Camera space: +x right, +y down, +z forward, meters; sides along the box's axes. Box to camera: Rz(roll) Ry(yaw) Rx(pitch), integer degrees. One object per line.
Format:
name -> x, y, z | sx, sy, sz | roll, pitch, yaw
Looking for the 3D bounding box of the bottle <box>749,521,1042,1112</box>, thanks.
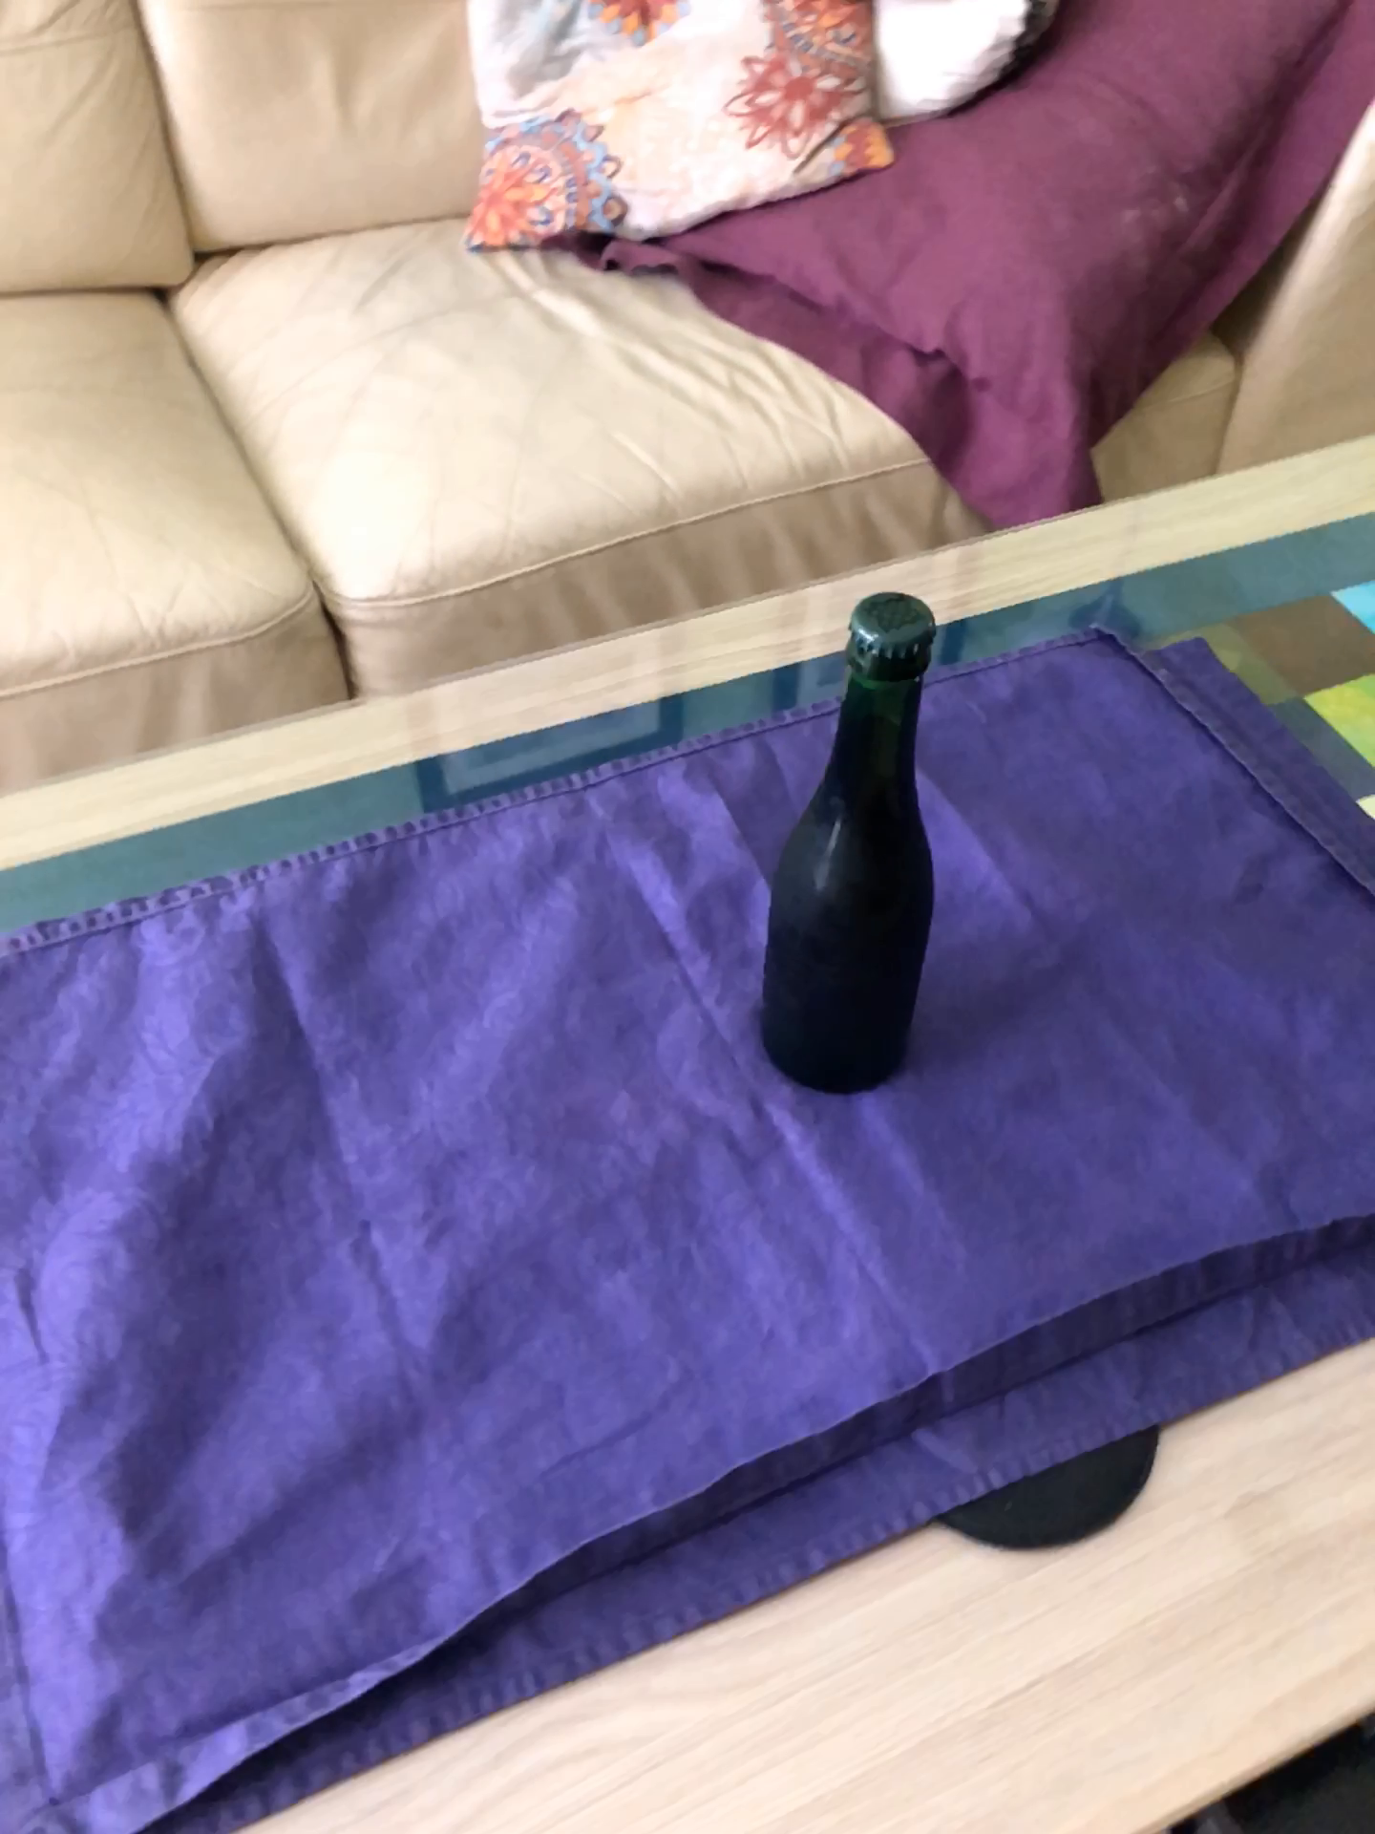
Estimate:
bottle -> 0.065, -0.026, 0.551 | 0.070, 0.219, 0.080 | -1, 48, -2
